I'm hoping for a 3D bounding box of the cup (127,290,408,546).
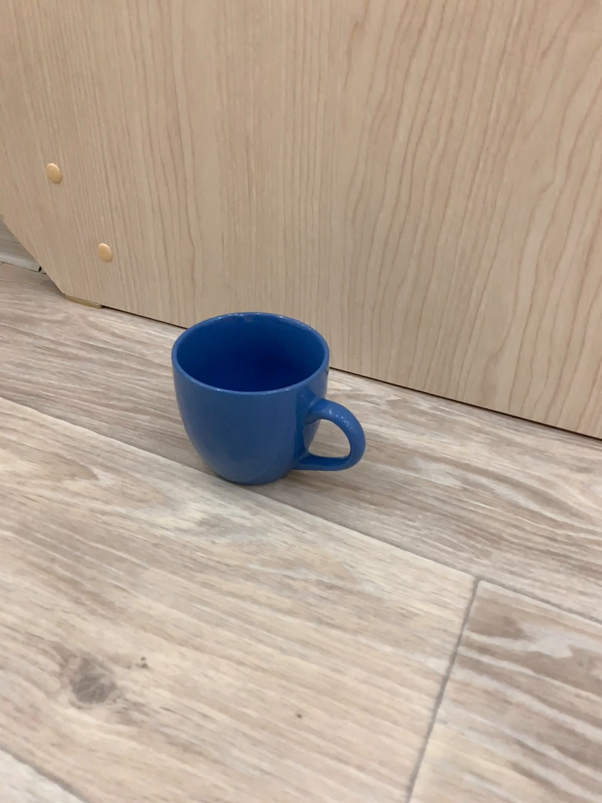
[{"bbox_3d":[-0.017,0.002,0.331,0.118,0.074,0.078,20,38,24],"label":"cup"}]
